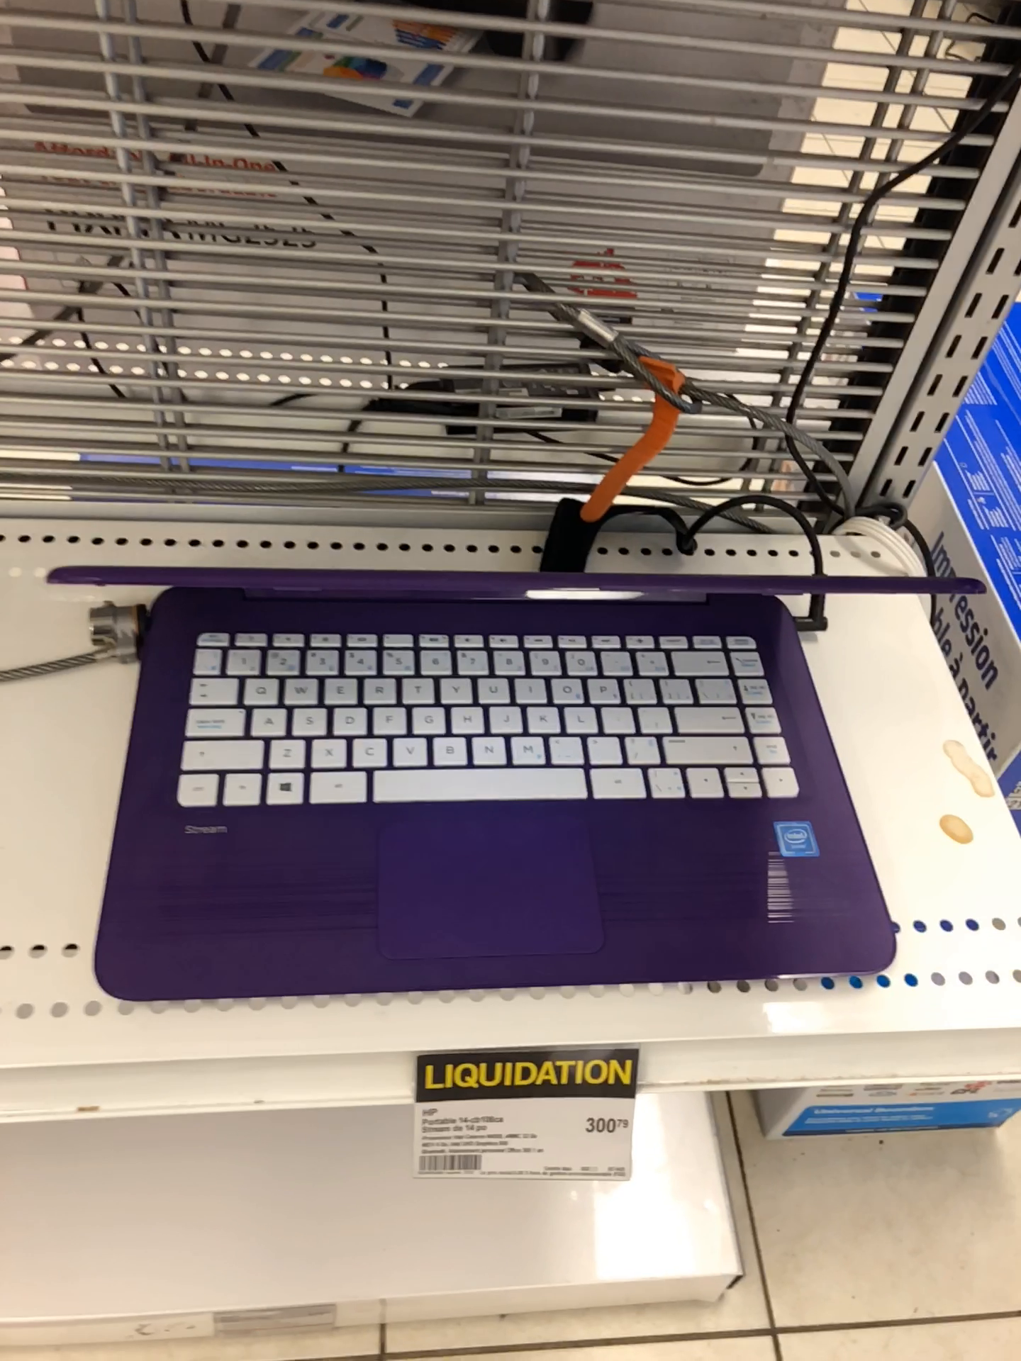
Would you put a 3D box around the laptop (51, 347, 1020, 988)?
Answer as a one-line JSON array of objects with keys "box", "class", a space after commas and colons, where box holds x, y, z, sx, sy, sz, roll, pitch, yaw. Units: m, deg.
[{"box": [0.003, -0.008, 0.464, 0.305, 0.138, 0.207, 0, 52, -7], "class": "laptop"}]
